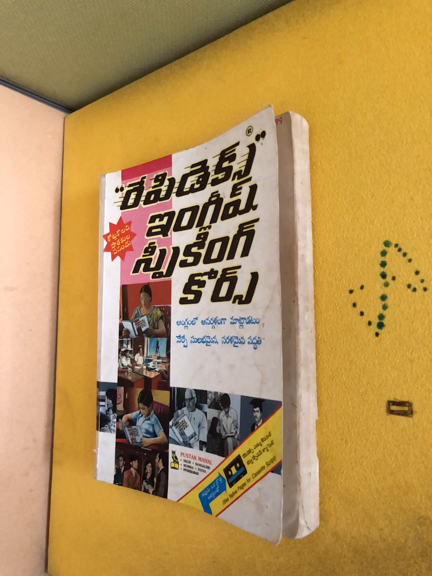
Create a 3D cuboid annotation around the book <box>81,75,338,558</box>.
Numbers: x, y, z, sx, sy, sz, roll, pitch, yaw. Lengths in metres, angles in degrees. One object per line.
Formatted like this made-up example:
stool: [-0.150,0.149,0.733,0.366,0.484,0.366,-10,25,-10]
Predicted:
book: [-0.018,0.016,0.320,0.191,0.030,0.250,-6,81,40]
